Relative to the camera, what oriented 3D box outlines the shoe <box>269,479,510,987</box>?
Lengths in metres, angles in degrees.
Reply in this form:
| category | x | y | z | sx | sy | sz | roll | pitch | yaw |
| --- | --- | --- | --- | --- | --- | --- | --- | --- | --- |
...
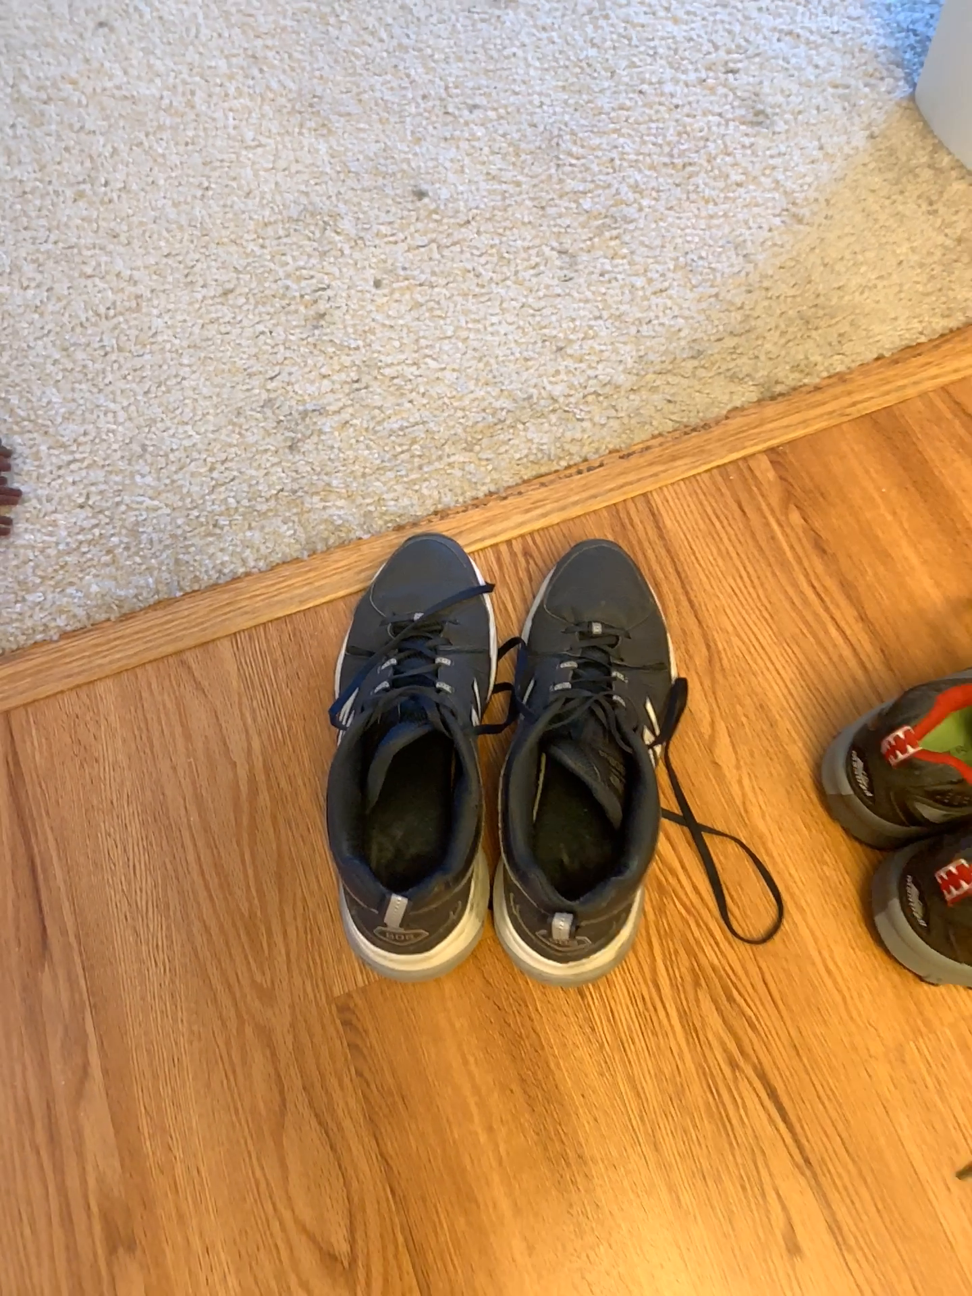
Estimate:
| category | x | y | z | sx | sy | sz | roll | pitch | yaw |
| --- | --- | --- | --- | --- | --- | --- | --- | --- | --- |
| shoe | -0.052 | 0.054 | 0.657 | 0.130 | 0.120 | 0.311 | -1 | 66 | 1 |

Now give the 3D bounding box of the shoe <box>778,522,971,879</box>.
| category | x | y | z | sx | sy | sz | roll | pitch | yaw |
| --- | --- | --- | --- | --- | --- | --- | --- | --- | --- |
| shoe | 0.370 | 0.041 | 0.633 | 0.300 | 0.170 | 0.120 | -11 | 66 | -3 |

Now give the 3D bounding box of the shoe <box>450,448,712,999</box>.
| category | x | y | z | sx | sy | sz | roll | pitch | yaw |
| --- | --- | --- | --- | --- | --- | --- | --- | --- | --- |
| shoe | 0.061 | 0.045 | 0.614 | 0.120 | 0.130 | 0.300 | 6 | 66 | 4 |

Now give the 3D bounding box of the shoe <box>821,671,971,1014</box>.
| category | x | y | z | sx | sy | sz | roll | pitch | yaw |
| --- | --- | --- | --- | --- | --- | --- | --- | --- | --- |
| shoe | 0.406 | 0.128 | 0.611 | 0.320 | 0.180 | 0.140 | -5 | 66 | -1 |
